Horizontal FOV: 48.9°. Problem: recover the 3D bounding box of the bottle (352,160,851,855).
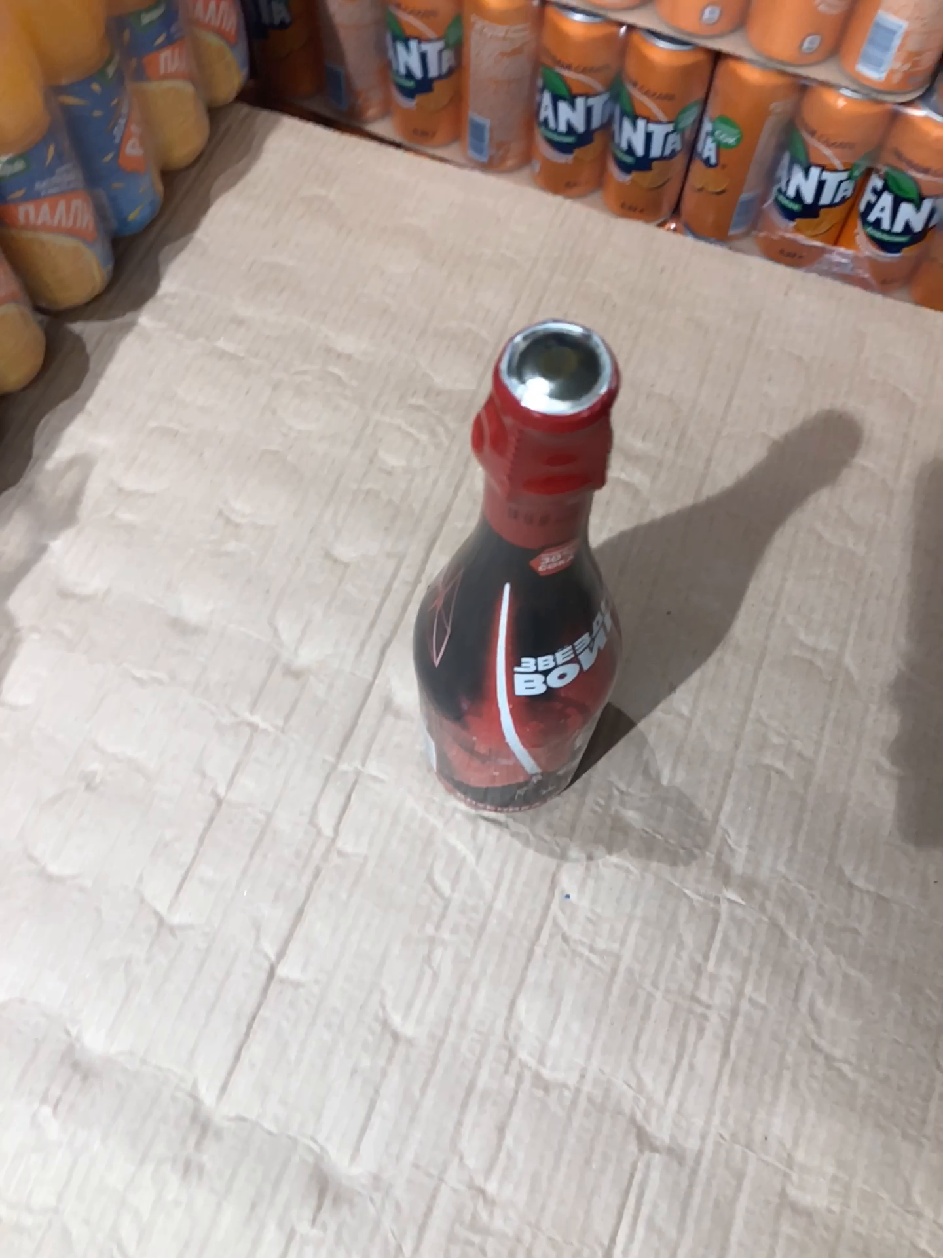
[{"bbox_3d":[0.027,-0.005,0.351,0.085,0.279,0.086,1,67,-1],"label":"bottle"}]
